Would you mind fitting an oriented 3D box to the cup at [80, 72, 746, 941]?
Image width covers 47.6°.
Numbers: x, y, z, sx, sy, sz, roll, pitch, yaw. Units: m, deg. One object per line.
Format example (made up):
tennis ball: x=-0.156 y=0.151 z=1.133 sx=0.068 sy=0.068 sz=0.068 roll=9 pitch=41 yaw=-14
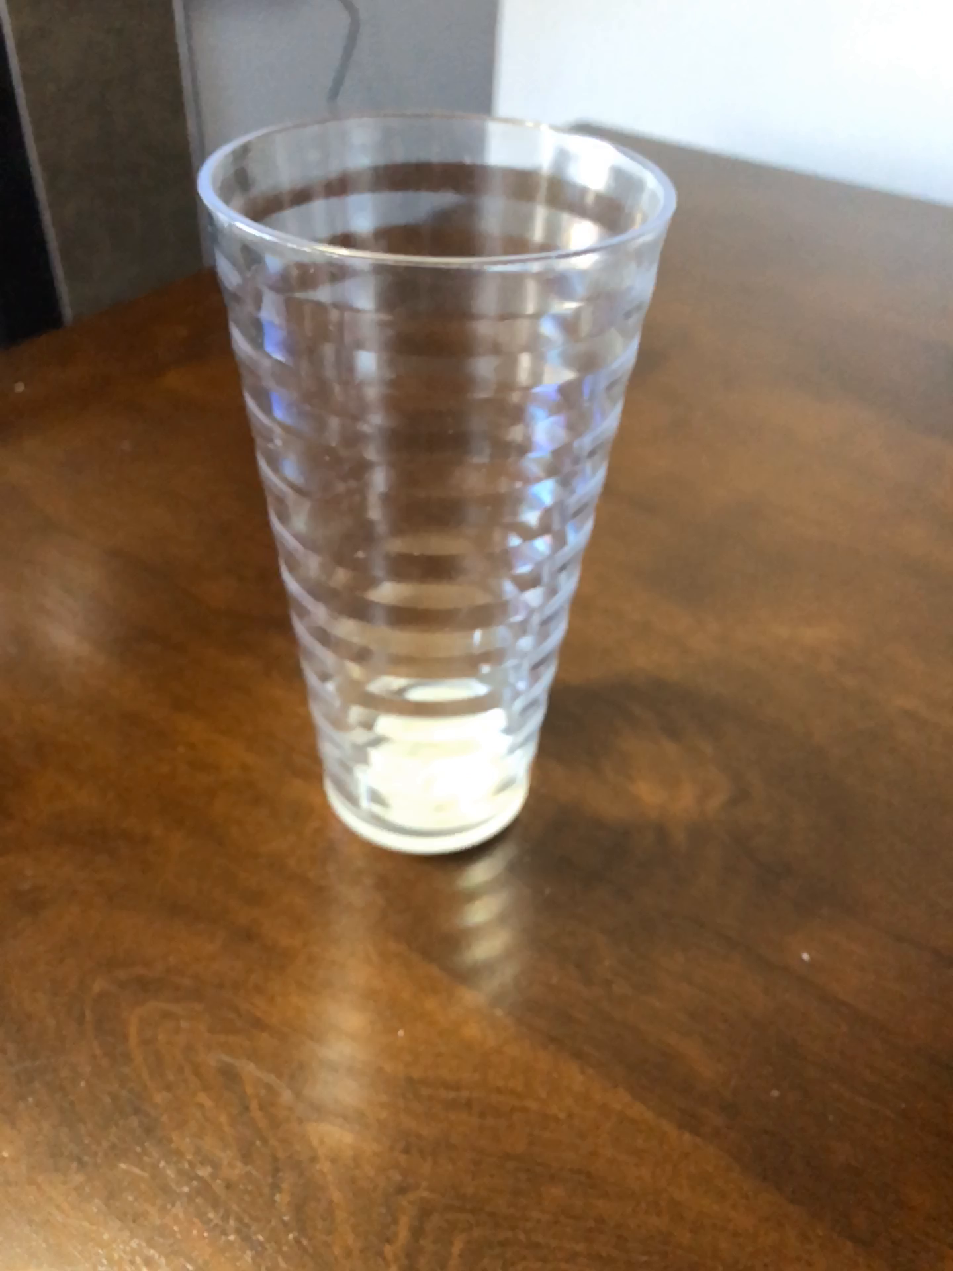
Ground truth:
cup: x=-0.013 y=-0.033 z=0.284 sx=0.100 sy=0.179 sz=0.100 roll=2 pitch=39 yaw=-1
